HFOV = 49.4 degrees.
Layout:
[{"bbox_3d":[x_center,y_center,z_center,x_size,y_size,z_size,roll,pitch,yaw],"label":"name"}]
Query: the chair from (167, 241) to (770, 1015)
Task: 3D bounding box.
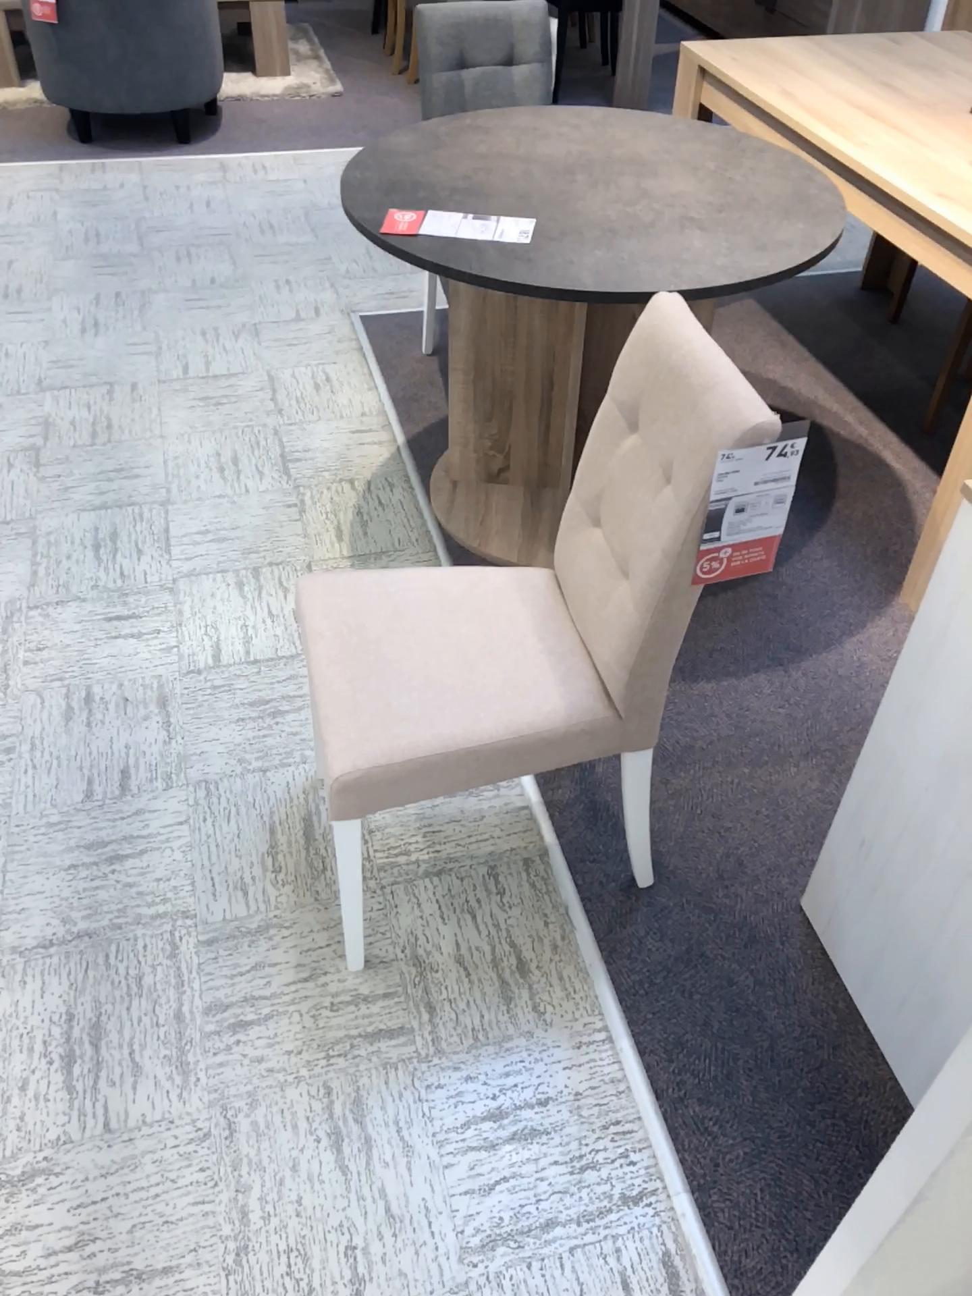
[{"bbox_3d":[-0.058,0.003,1.362,0.531,0.855,0.432,-8,43,-11],"label":"chair"}]
